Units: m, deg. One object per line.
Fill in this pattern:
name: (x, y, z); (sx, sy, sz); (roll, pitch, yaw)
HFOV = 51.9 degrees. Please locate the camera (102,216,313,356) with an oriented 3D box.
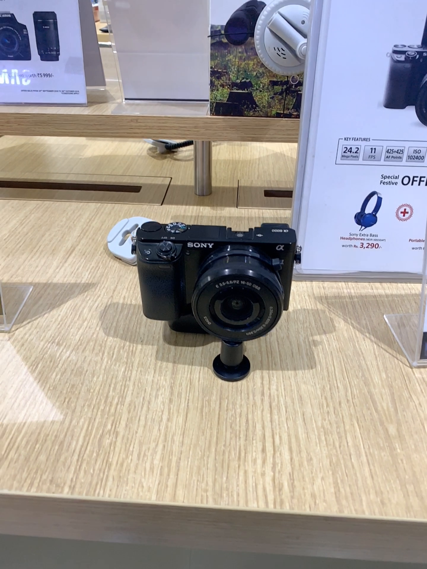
camera: (-0.003, 0.000, 0.319); (0.130, 0.070, 0.070); (2, 35, 2)
